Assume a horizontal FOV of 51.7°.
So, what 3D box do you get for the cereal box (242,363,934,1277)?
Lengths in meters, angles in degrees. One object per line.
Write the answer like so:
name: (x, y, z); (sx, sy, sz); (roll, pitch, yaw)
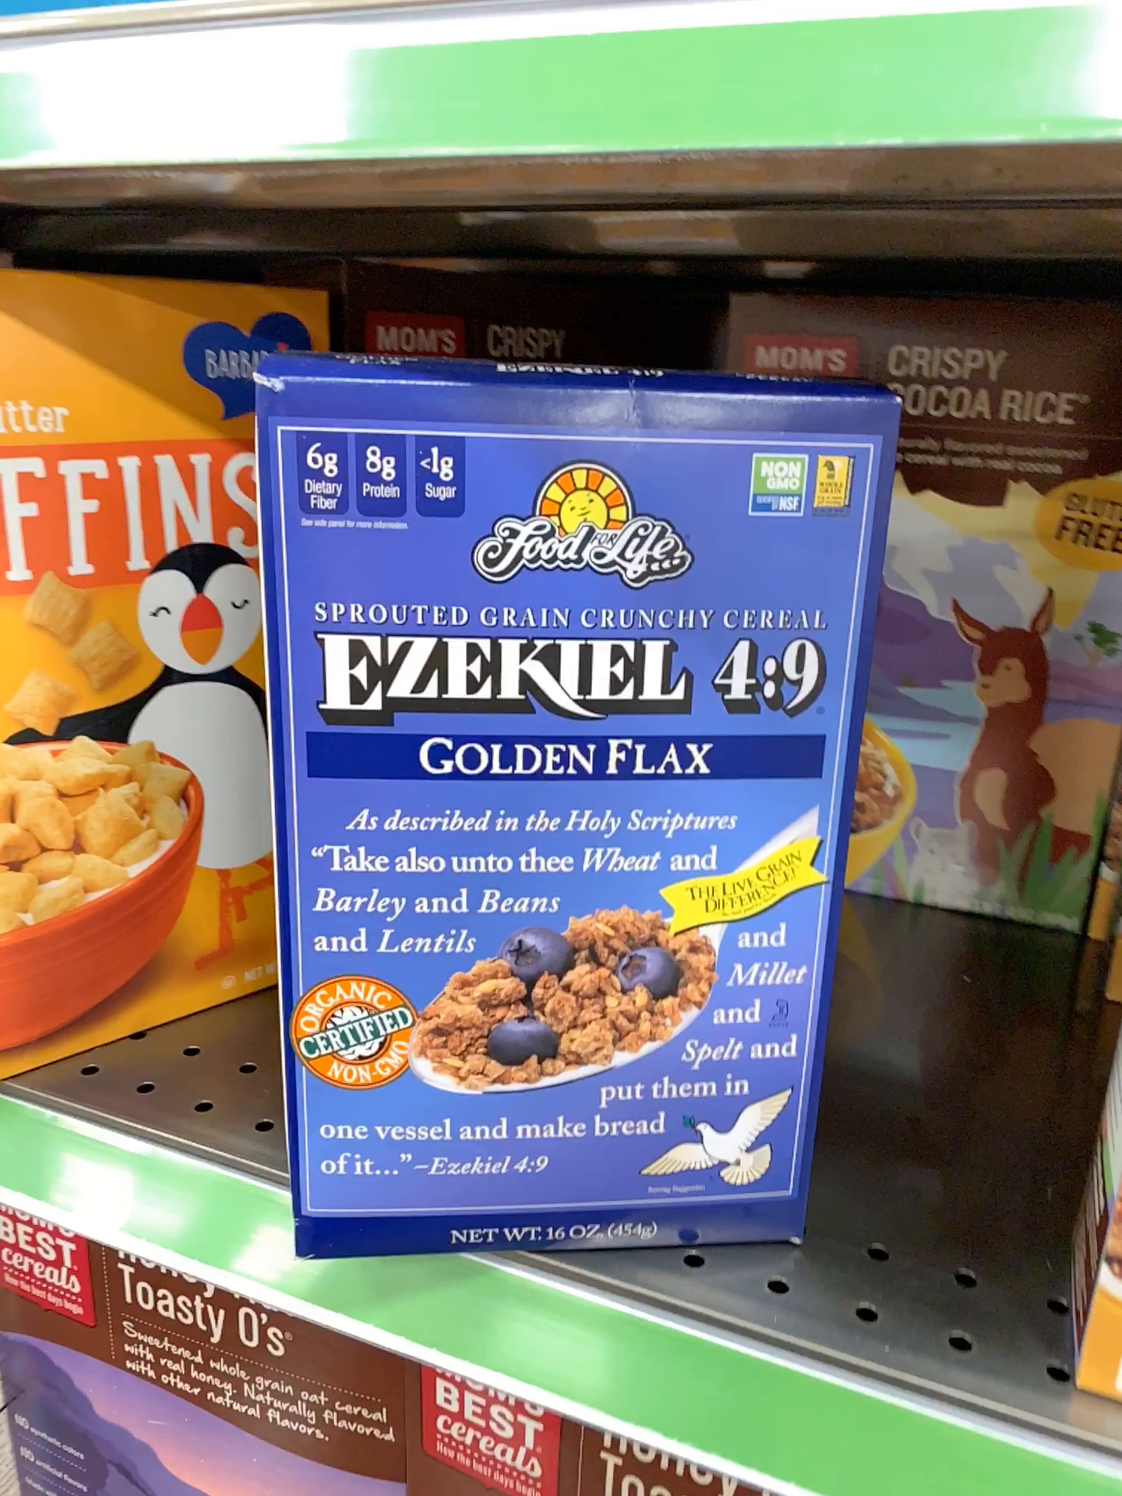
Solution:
cereal box: (0.002, 0.024, 0.331); (0.160, 0.249, 0.060); (0, 17, -5)
